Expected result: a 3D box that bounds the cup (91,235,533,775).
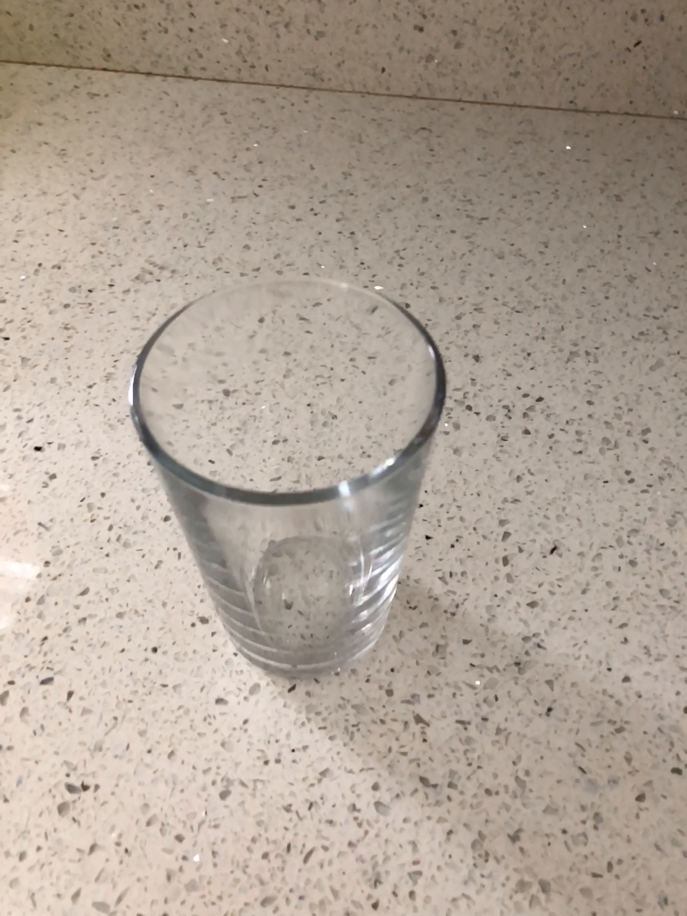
[{"bbox_3d":[-0.011,0.017,0.211,0.074,0.114,0.080,0,51,0],"label":"cup"}]
